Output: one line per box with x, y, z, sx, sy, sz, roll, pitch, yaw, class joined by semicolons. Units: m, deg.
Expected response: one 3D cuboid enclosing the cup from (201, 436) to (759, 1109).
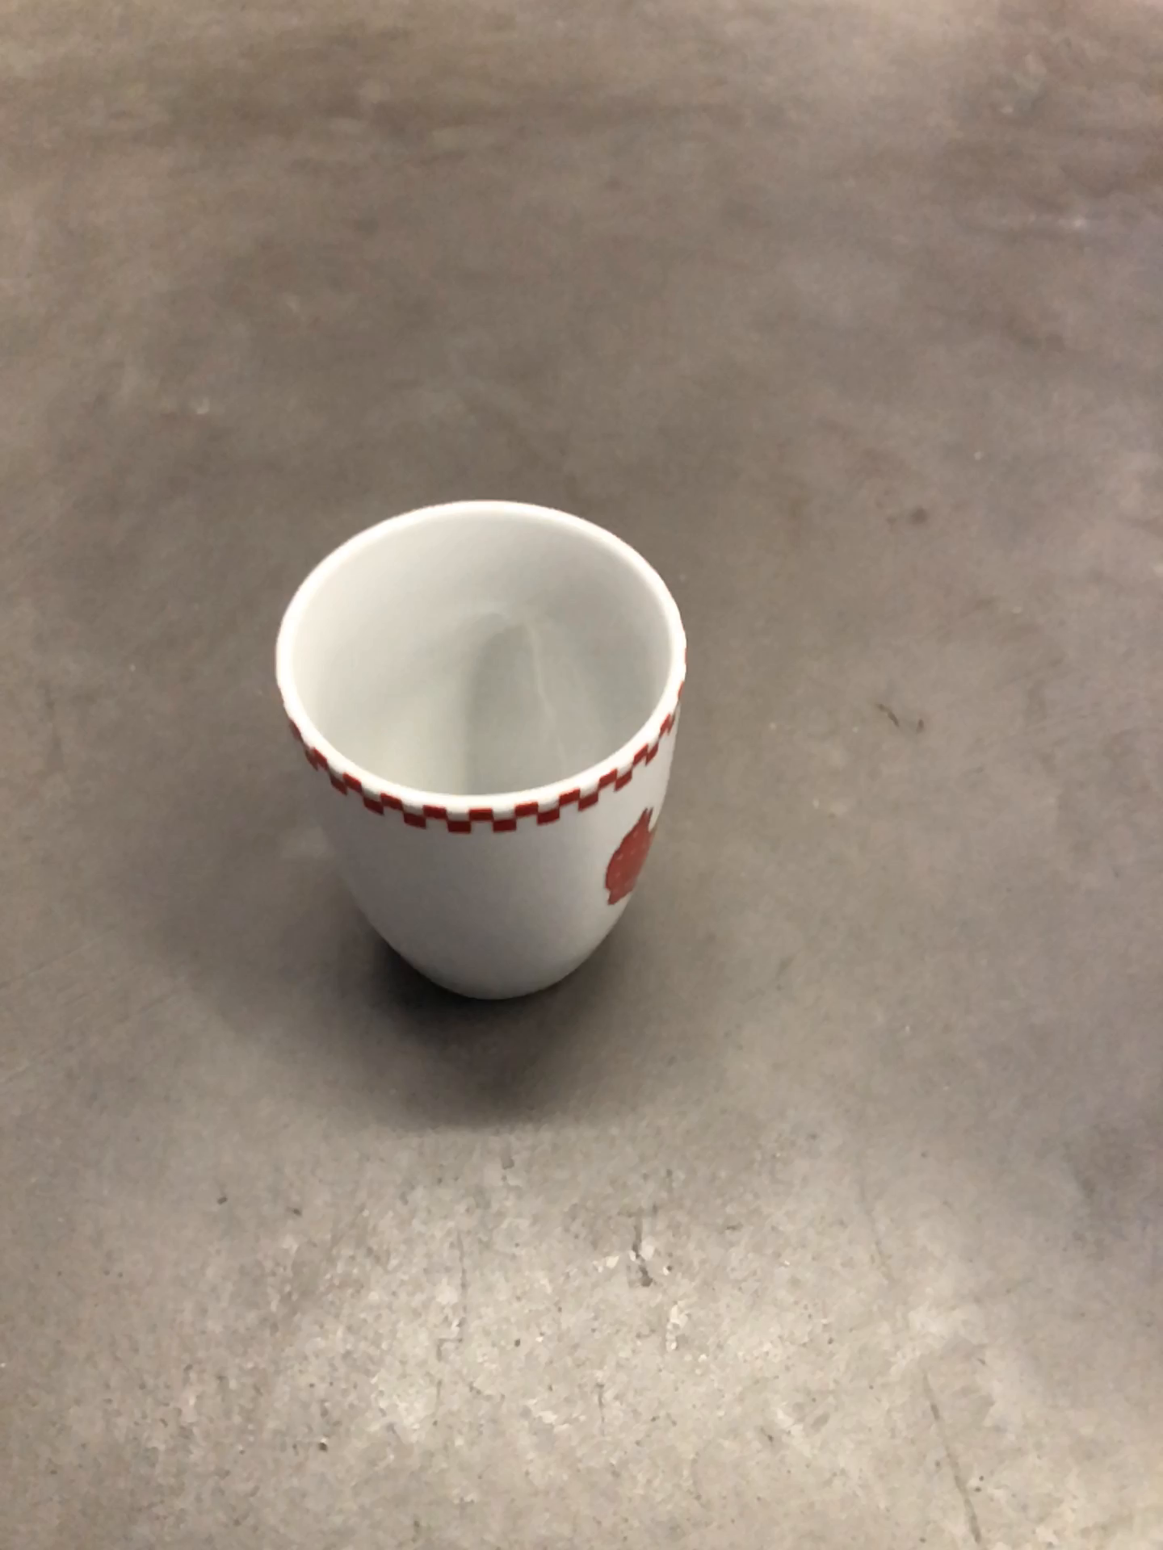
-0.015;0.001;0.286;0.087;0.092;0.103;8;54;4;cup
